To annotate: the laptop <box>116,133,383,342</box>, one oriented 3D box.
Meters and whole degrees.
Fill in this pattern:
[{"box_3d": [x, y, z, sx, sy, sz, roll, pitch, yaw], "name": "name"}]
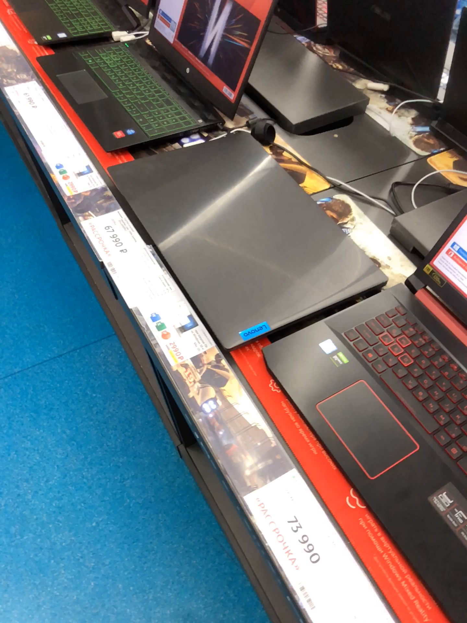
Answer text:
[{"box_3d": [0.013, -0.147, 0.814, 0.269, 0.002, 0.390, -22, 58, -22], "name": "laptop"}]
